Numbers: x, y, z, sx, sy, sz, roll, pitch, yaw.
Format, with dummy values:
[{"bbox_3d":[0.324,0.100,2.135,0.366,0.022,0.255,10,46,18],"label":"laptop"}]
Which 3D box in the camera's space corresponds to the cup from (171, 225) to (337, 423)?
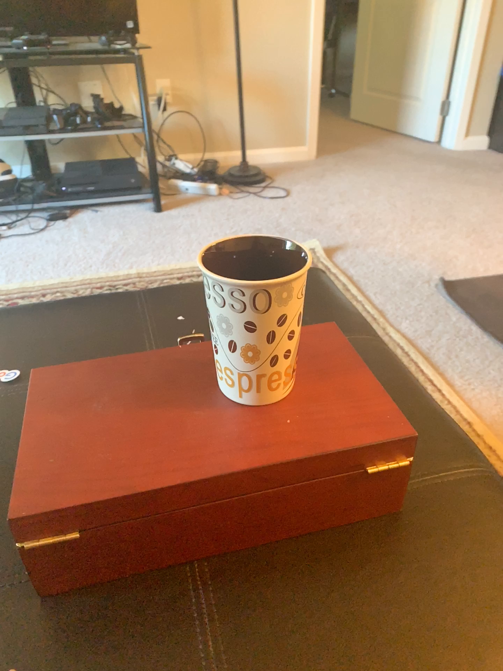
[{"bbox_3d":[0.005,-0.013,0.412,0.090,0.109,0.090,-1,33,1],"label":"cup"}]
